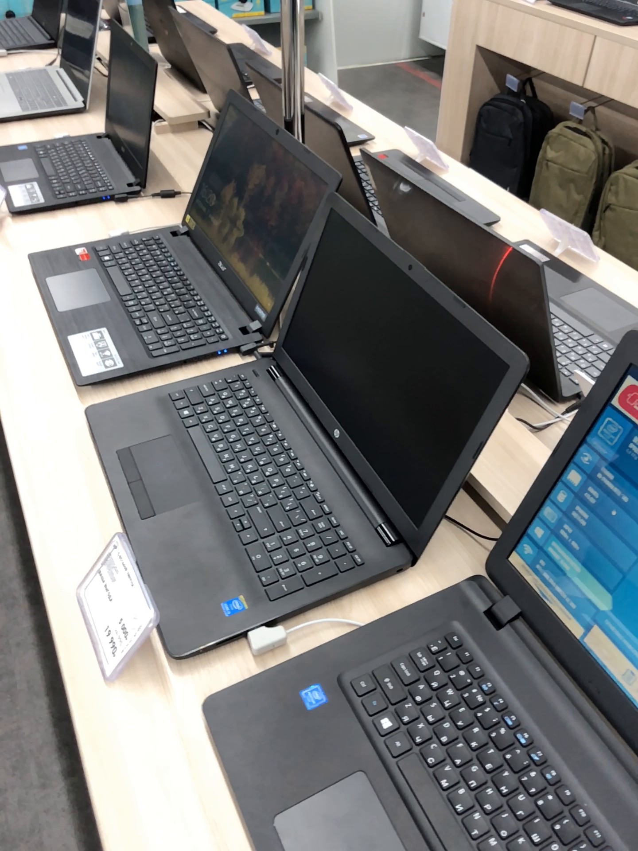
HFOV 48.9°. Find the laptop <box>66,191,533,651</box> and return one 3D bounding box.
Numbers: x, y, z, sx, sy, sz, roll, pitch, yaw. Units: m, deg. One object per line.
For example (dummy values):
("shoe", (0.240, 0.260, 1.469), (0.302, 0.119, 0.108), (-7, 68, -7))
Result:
("laptop", (-0.045, -0.043, 0.747), (0.334, 0.215, 0.378), (-18, 44, -19))

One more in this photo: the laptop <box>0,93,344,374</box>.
("laptop", (-0.219, -0.302, 1.036), (0.350, 0.226, 0.360), (-17, 45, -20))

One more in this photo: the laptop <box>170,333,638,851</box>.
("laptop", (0.177, 0.191, 0.434), (0.395, 0.267, 0.398), (-16, 43, -19))
